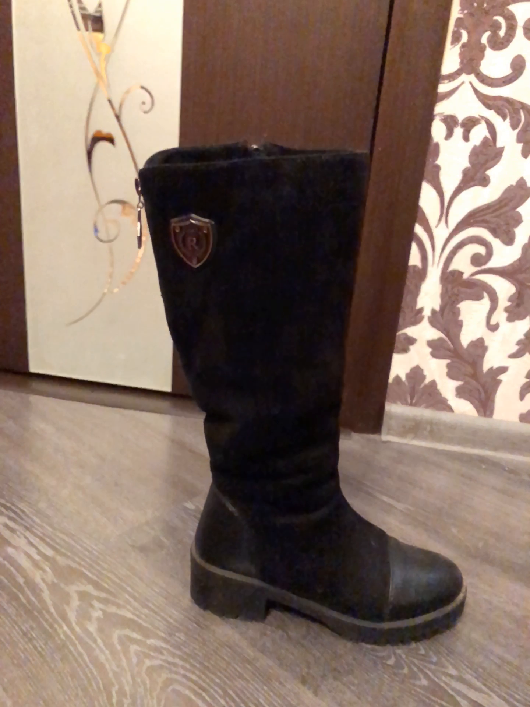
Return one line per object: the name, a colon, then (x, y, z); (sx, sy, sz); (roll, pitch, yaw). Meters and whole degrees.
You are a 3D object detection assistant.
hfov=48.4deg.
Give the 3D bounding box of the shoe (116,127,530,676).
shoe: (0.050, 0.036, 0.441); (0.290, 0.358, 0.121); (5, 18, 1)
